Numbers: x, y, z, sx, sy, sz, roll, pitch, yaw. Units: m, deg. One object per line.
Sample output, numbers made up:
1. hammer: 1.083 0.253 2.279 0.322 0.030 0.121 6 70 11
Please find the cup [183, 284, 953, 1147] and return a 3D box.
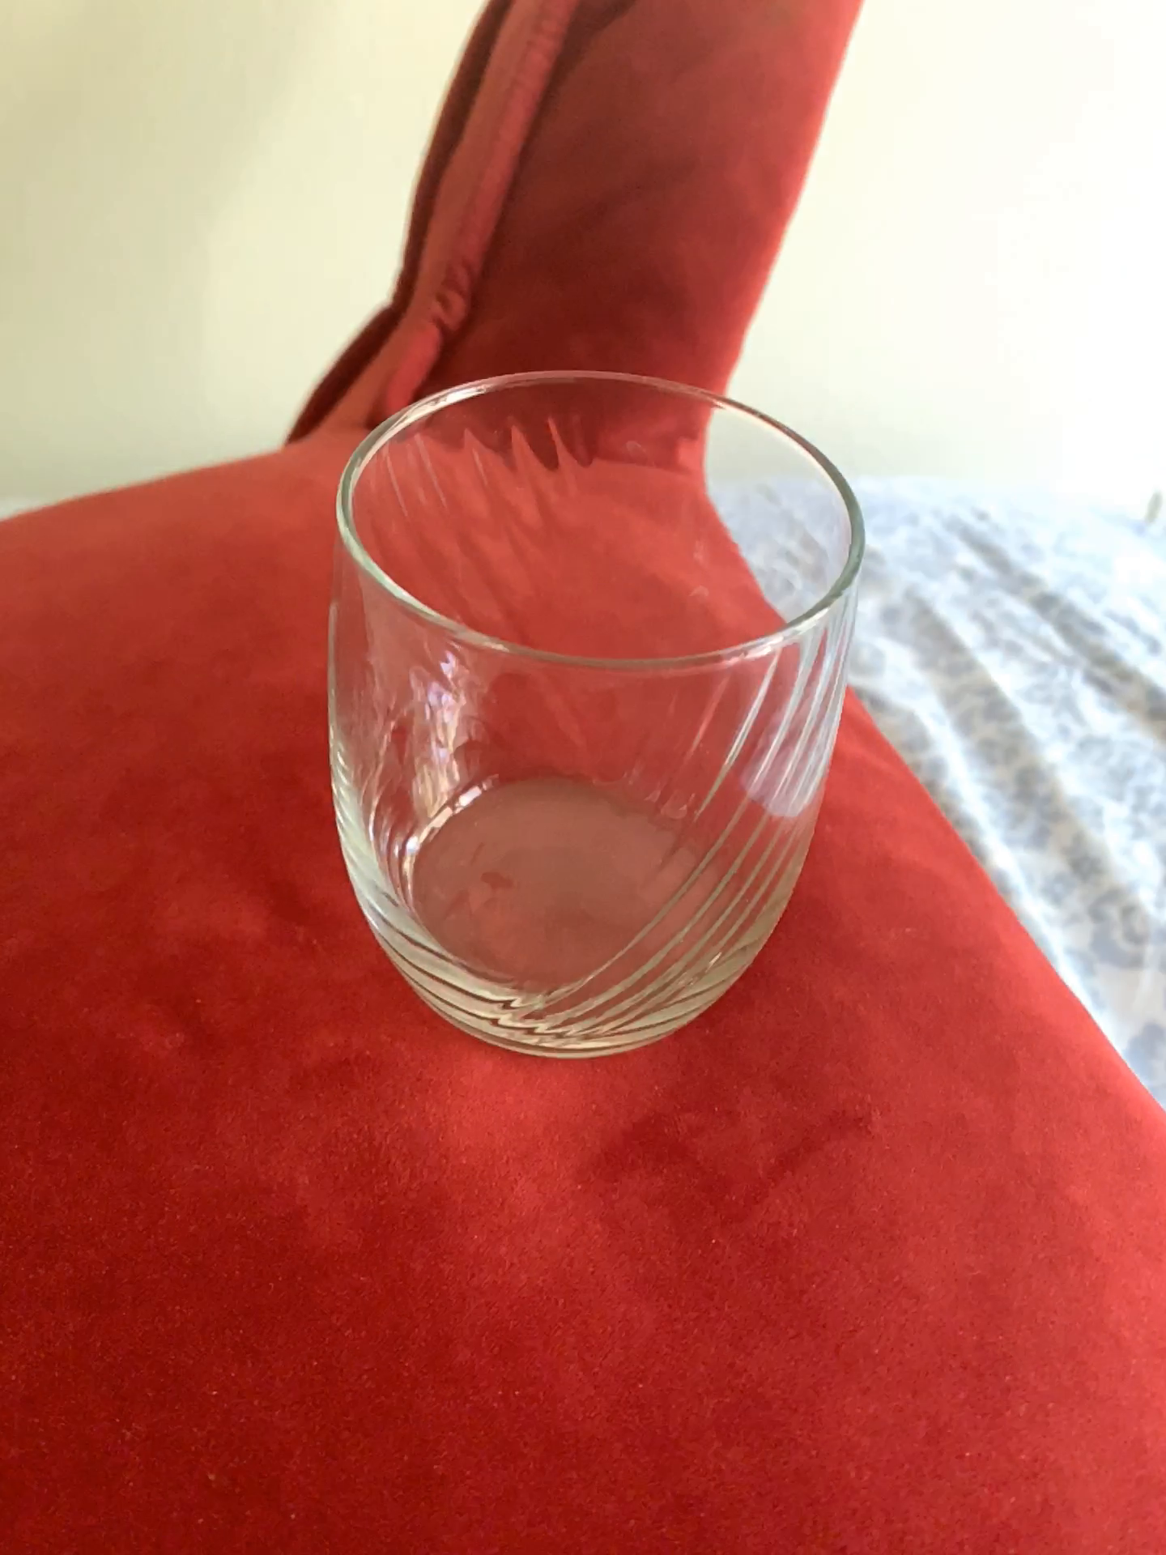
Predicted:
1. cup: 0.003 -0.011 0.191 0.080 0.090 0.080 1 45 -1
